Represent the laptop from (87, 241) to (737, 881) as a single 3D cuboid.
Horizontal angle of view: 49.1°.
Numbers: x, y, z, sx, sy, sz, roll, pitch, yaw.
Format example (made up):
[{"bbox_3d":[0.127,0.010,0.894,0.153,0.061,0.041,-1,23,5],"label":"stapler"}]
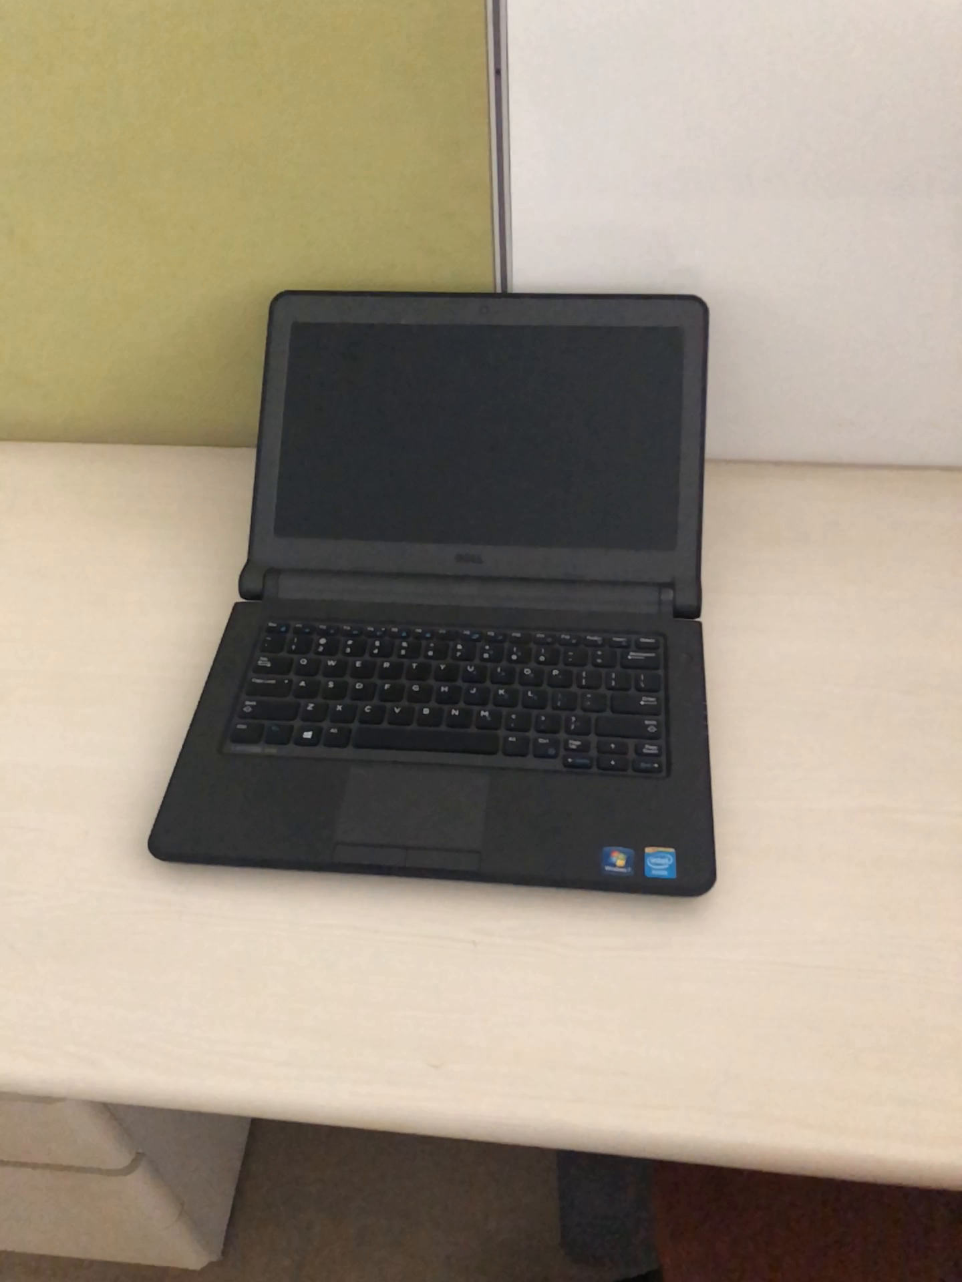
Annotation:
[{"bbox_3d":[-0.015,-0.083,0.679,0.316,0.122,0.418,3,51,6],"label":"laptop"}]
